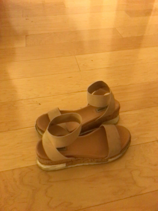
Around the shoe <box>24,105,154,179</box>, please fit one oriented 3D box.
[{"bbox_3d":[0.018,0.086,0.414,0.270,0.109,0.091,-8,48,-9],"label":"shoe"}]

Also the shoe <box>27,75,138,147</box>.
[{"bbox_3d":[0.006,0.011,0.484,0.270,0.109,0.101,-13,49,-13],"label":"shoe"}]
